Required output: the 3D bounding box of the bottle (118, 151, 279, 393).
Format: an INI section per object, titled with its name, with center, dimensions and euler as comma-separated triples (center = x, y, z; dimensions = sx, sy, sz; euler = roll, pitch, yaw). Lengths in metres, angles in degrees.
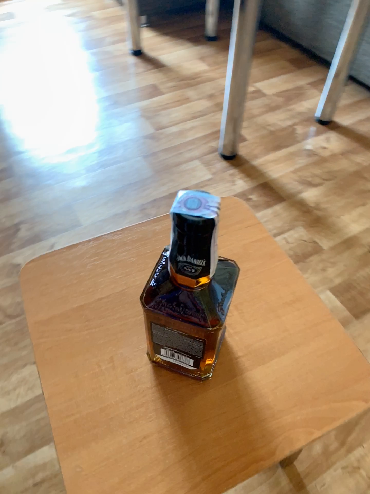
[bottle]
center = 0.011, 0.037, 0.319
dimensions = 0.080, 0.209, 0.080
euler = 0, 52, -1
